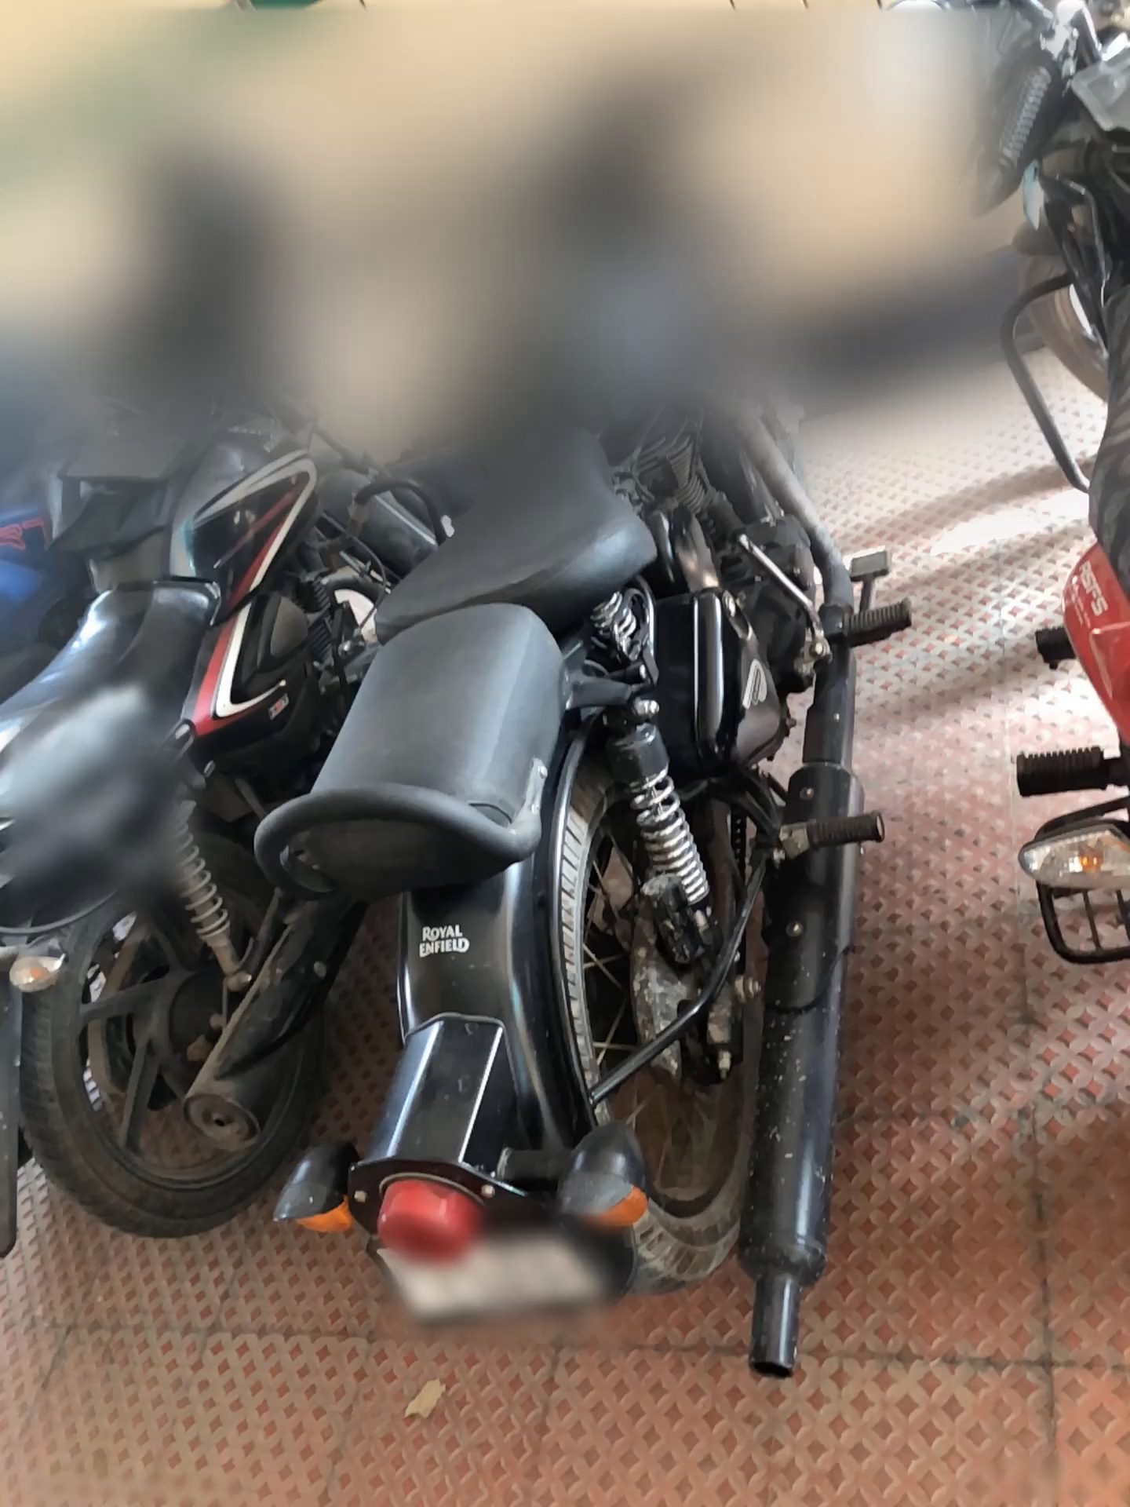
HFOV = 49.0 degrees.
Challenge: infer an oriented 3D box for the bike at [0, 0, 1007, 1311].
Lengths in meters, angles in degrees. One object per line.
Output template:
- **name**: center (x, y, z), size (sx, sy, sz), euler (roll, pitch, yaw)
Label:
- **bike**: center (0.050, -0.272, 1.749), size (0.709, 0.919, 1.694), euler (-14, 40, 24)
